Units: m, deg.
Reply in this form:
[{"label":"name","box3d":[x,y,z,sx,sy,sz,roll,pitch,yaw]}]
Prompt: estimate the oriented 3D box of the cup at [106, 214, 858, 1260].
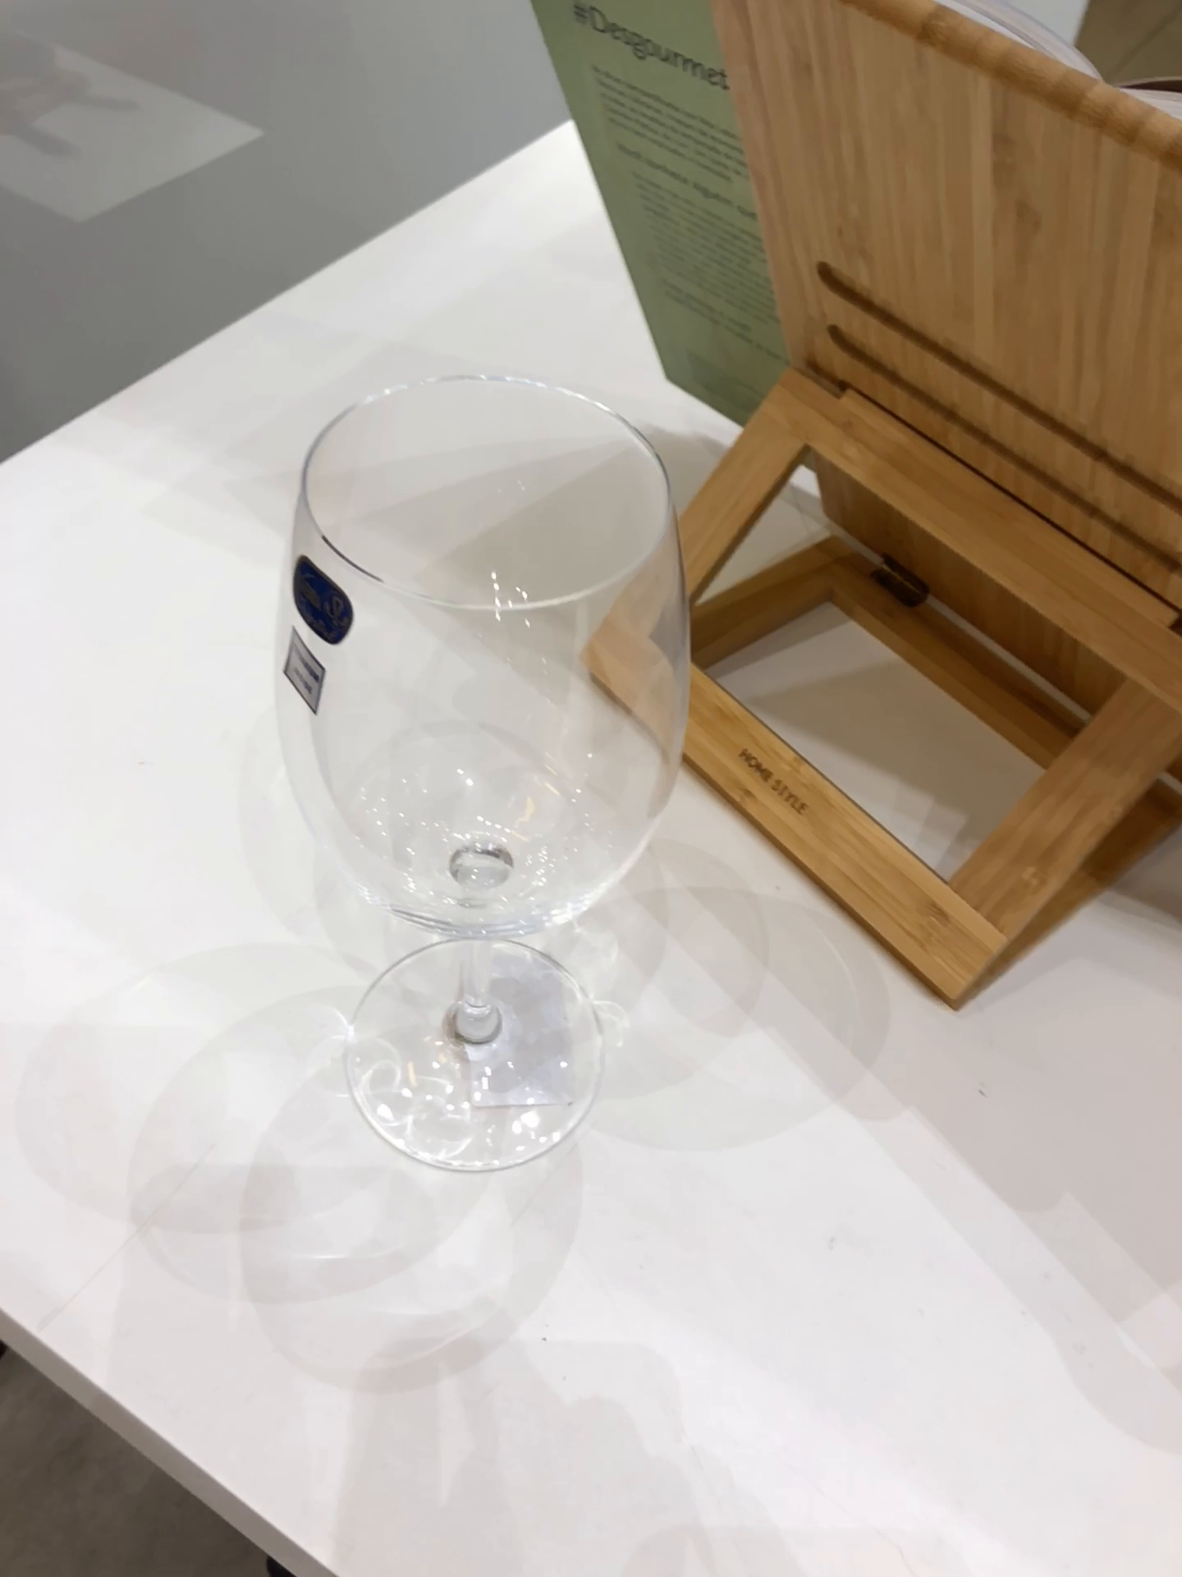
[{"label":"cup","box3d":[-0.027,0.007,0.326,0.100,0.238,0.090,32,54,19]}]
